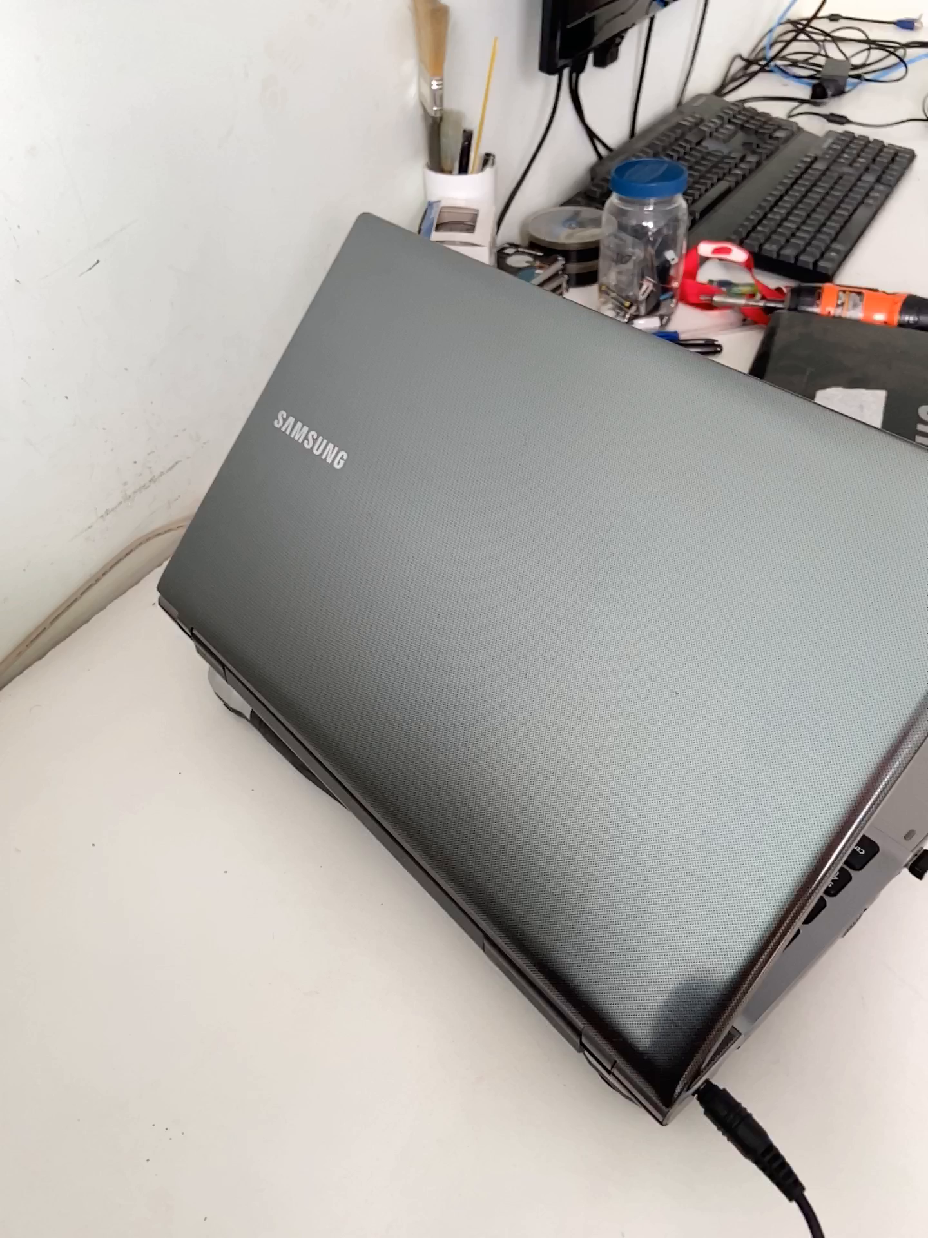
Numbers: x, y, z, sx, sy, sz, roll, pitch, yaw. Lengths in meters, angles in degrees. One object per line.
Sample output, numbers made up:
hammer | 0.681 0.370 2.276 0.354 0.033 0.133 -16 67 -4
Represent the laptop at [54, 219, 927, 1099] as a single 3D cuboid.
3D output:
laptop | 0.028 -0.033 0.431 0.231 0.164 0.359 -30 48 -31
